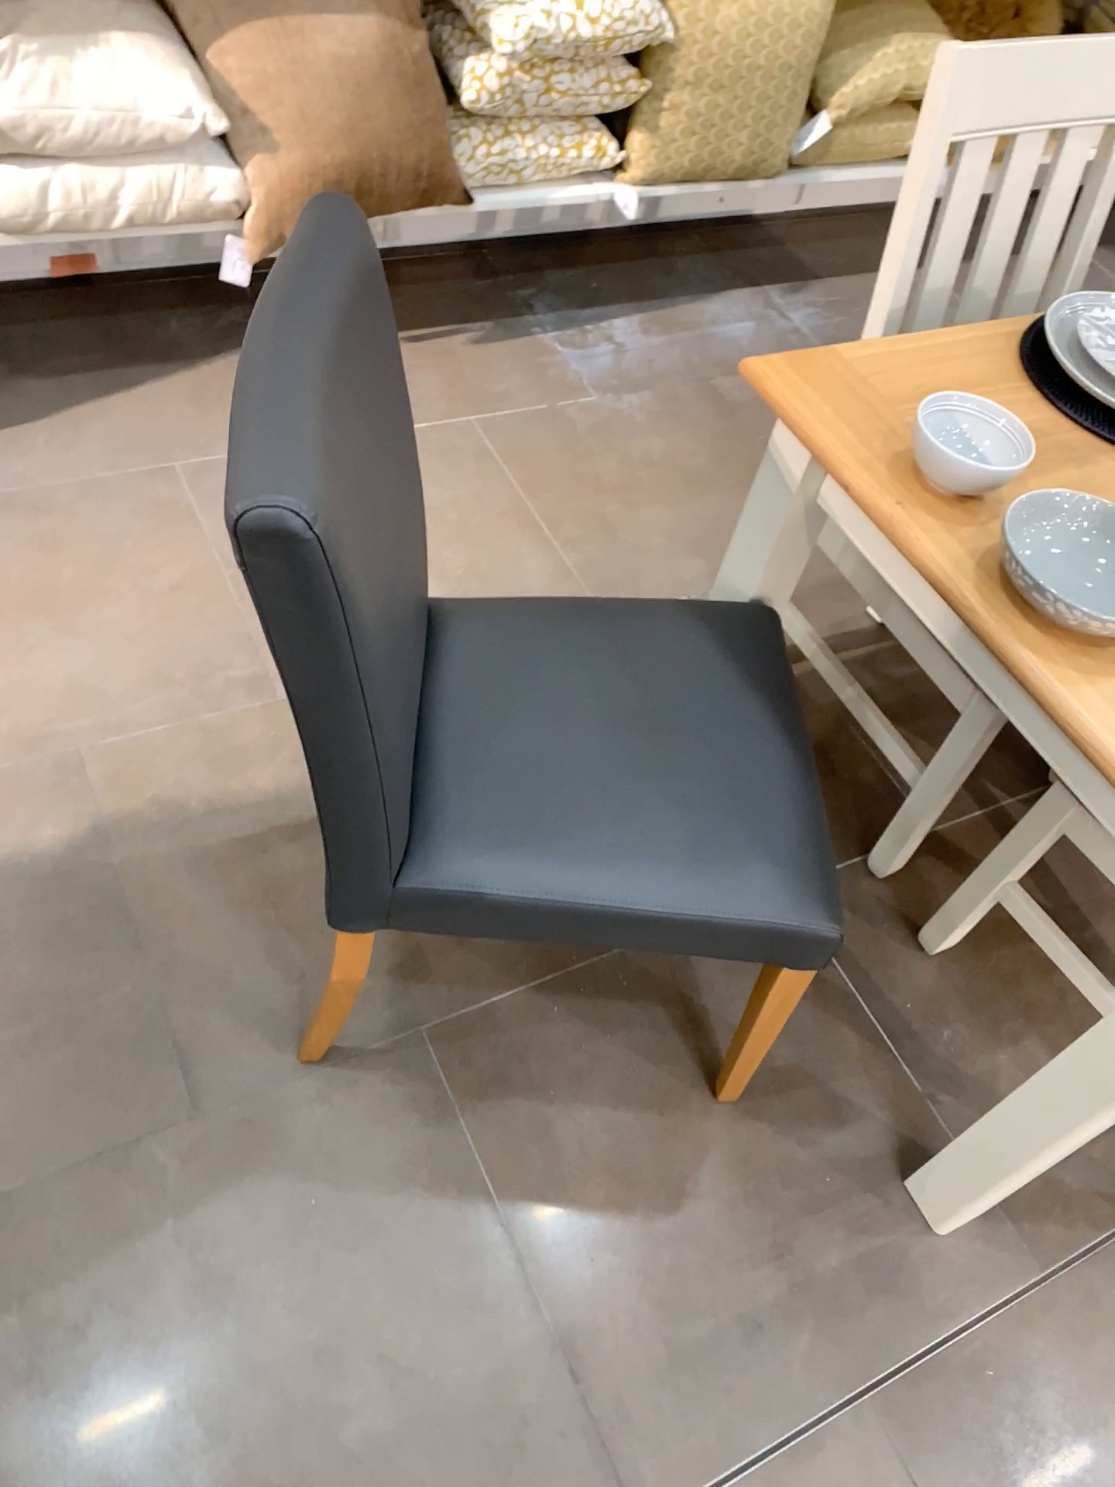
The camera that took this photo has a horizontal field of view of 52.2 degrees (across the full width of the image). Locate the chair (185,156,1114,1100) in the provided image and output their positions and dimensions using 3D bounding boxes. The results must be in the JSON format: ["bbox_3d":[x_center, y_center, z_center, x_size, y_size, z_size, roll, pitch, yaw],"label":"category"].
[{"bbox_3d":[0.006,-0.027,1.258,0.649,0.907,0.479,5,51,-8],"label":"chair"}]
